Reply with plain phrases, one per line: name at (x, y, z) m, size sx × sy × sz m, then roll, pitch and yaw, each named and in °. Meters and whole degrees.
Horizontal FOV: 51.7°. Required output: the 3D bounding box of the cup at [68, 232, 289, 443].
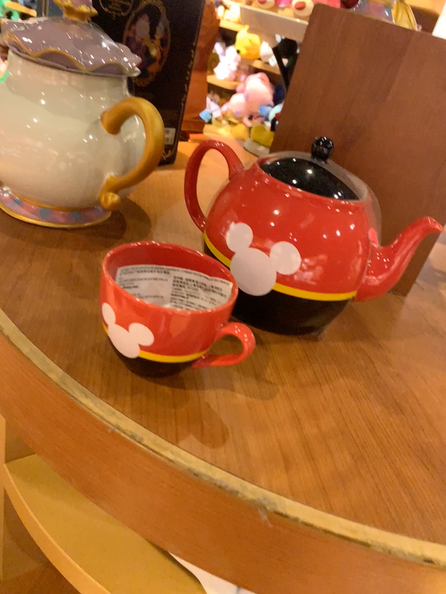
cup at (-0.030, 0.017, 0.285) m, size 0.100 × 0.065 × 0.078 m, roll 31°, pitch 33°, yaw 25°
